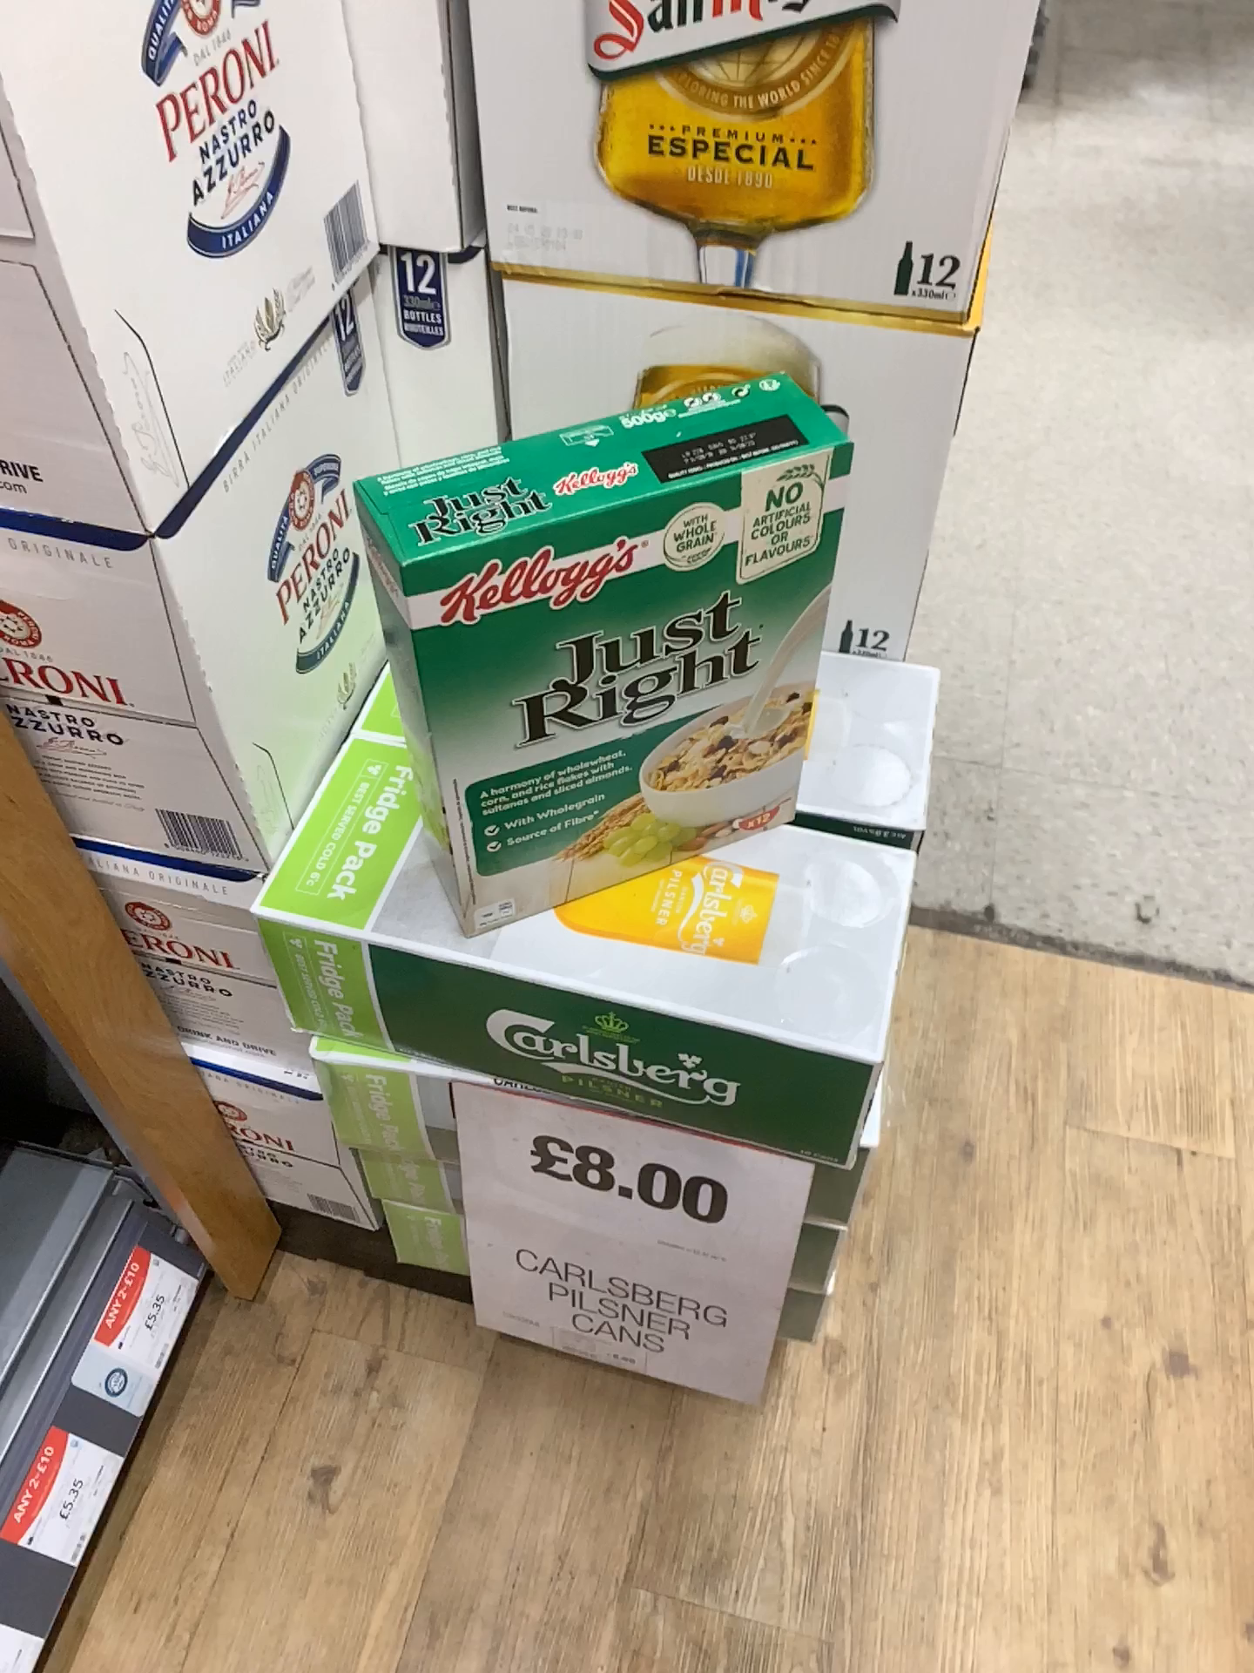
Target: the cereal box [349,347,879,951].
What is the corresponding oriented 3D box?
[{"bbox_3d":[-0.004,-0.073,0.582,0.190,0.238,0.070,-19,54,-14],"label":"cereal box"}]
